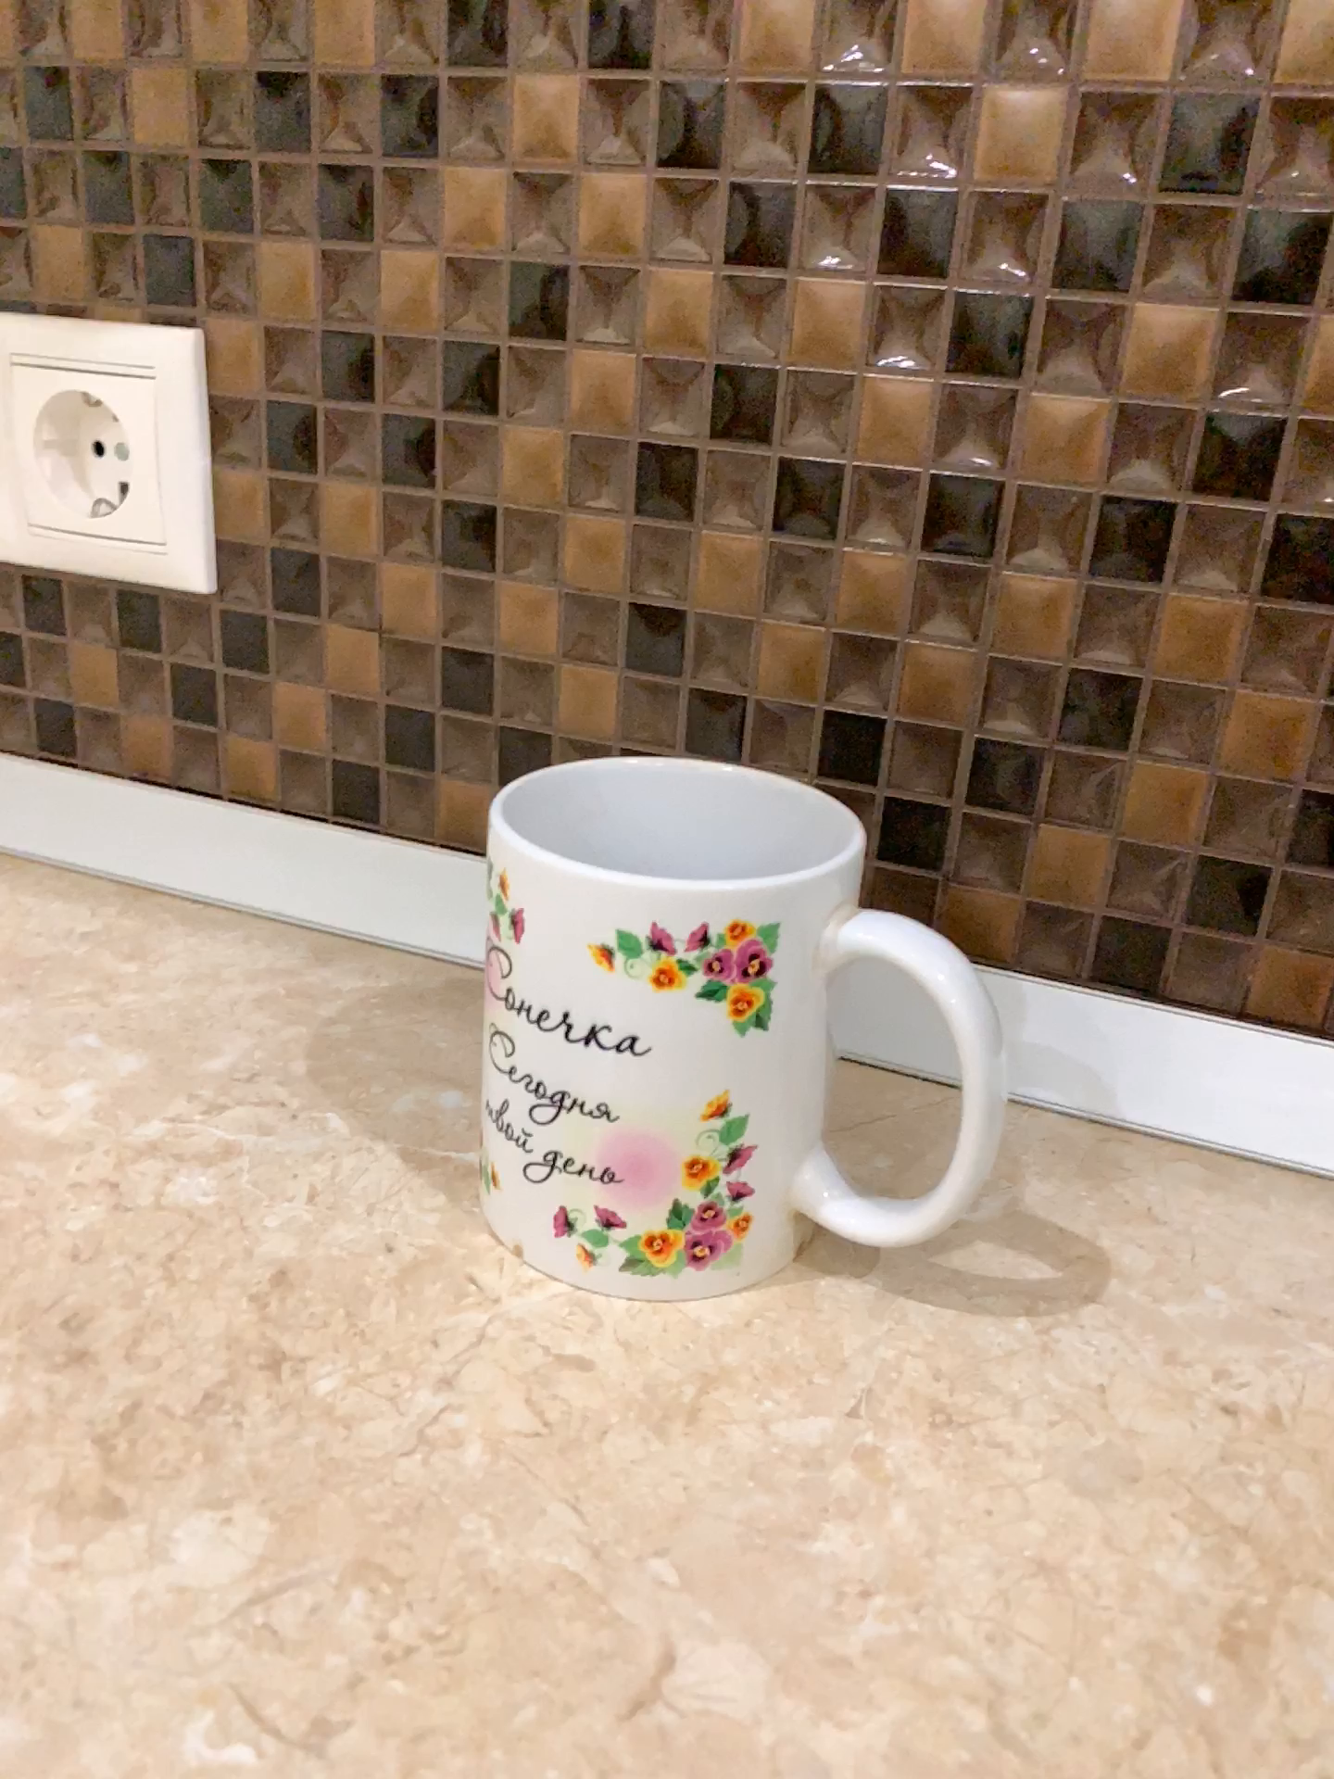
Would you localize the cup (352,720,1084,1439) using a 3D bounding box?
[{"bbox_3d":[0.011,0.029,0.297,0.123,0.093,0.091,14,24,22],"label":"cup"}]
